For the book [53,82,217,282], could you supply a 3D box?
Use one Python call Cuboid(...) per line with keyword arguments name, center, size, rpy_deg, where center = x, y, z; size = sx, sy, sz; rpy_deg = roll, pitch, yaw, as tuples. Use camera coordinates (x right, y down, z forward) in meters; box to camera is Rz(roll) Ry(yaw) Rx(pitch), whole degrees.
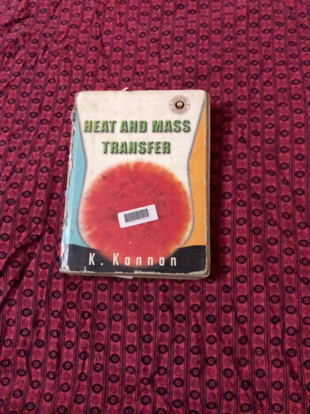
Cuboid(name="book", center=(-0.018, -0.037, 0.438), size=(0.185, 0.040, 0.250), rpy_deg=(1, 75, 4))
